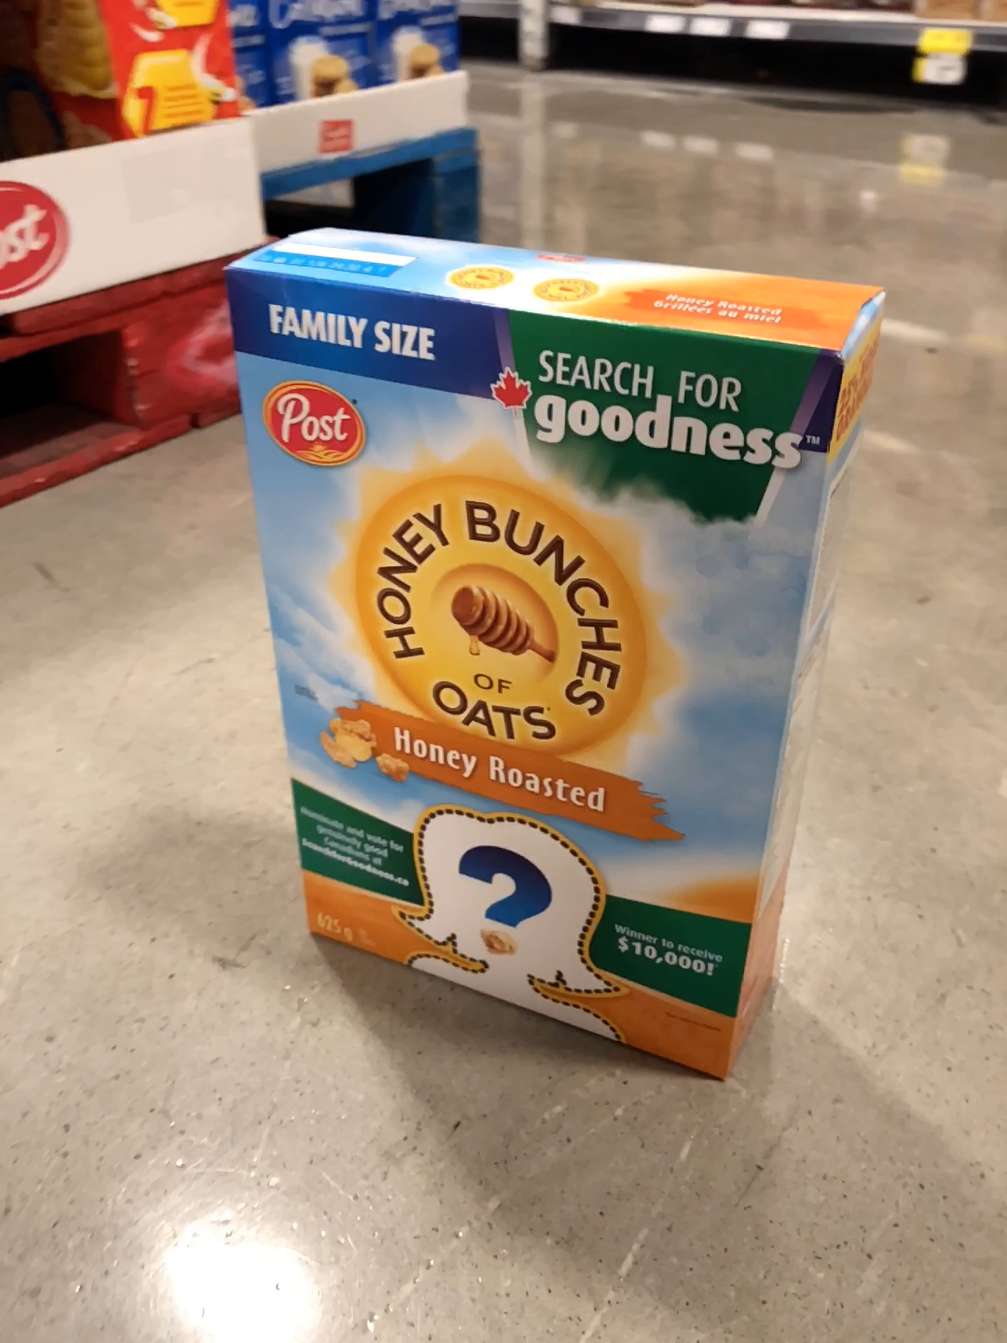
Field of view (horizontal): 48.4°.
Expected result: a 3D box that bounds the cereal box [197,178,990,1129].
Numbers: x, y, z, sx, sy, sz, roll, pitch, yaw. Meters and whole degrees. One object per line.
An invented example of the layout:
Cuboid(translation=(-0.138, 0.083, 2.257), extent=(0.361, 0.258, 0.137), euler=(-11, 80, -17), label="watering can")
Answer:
Cuboid(translation=(0.023, 0.004, 0.401), extent=(0.210, 0.309, 0.070), euler=(14, 37, 20), label="cereal box")
